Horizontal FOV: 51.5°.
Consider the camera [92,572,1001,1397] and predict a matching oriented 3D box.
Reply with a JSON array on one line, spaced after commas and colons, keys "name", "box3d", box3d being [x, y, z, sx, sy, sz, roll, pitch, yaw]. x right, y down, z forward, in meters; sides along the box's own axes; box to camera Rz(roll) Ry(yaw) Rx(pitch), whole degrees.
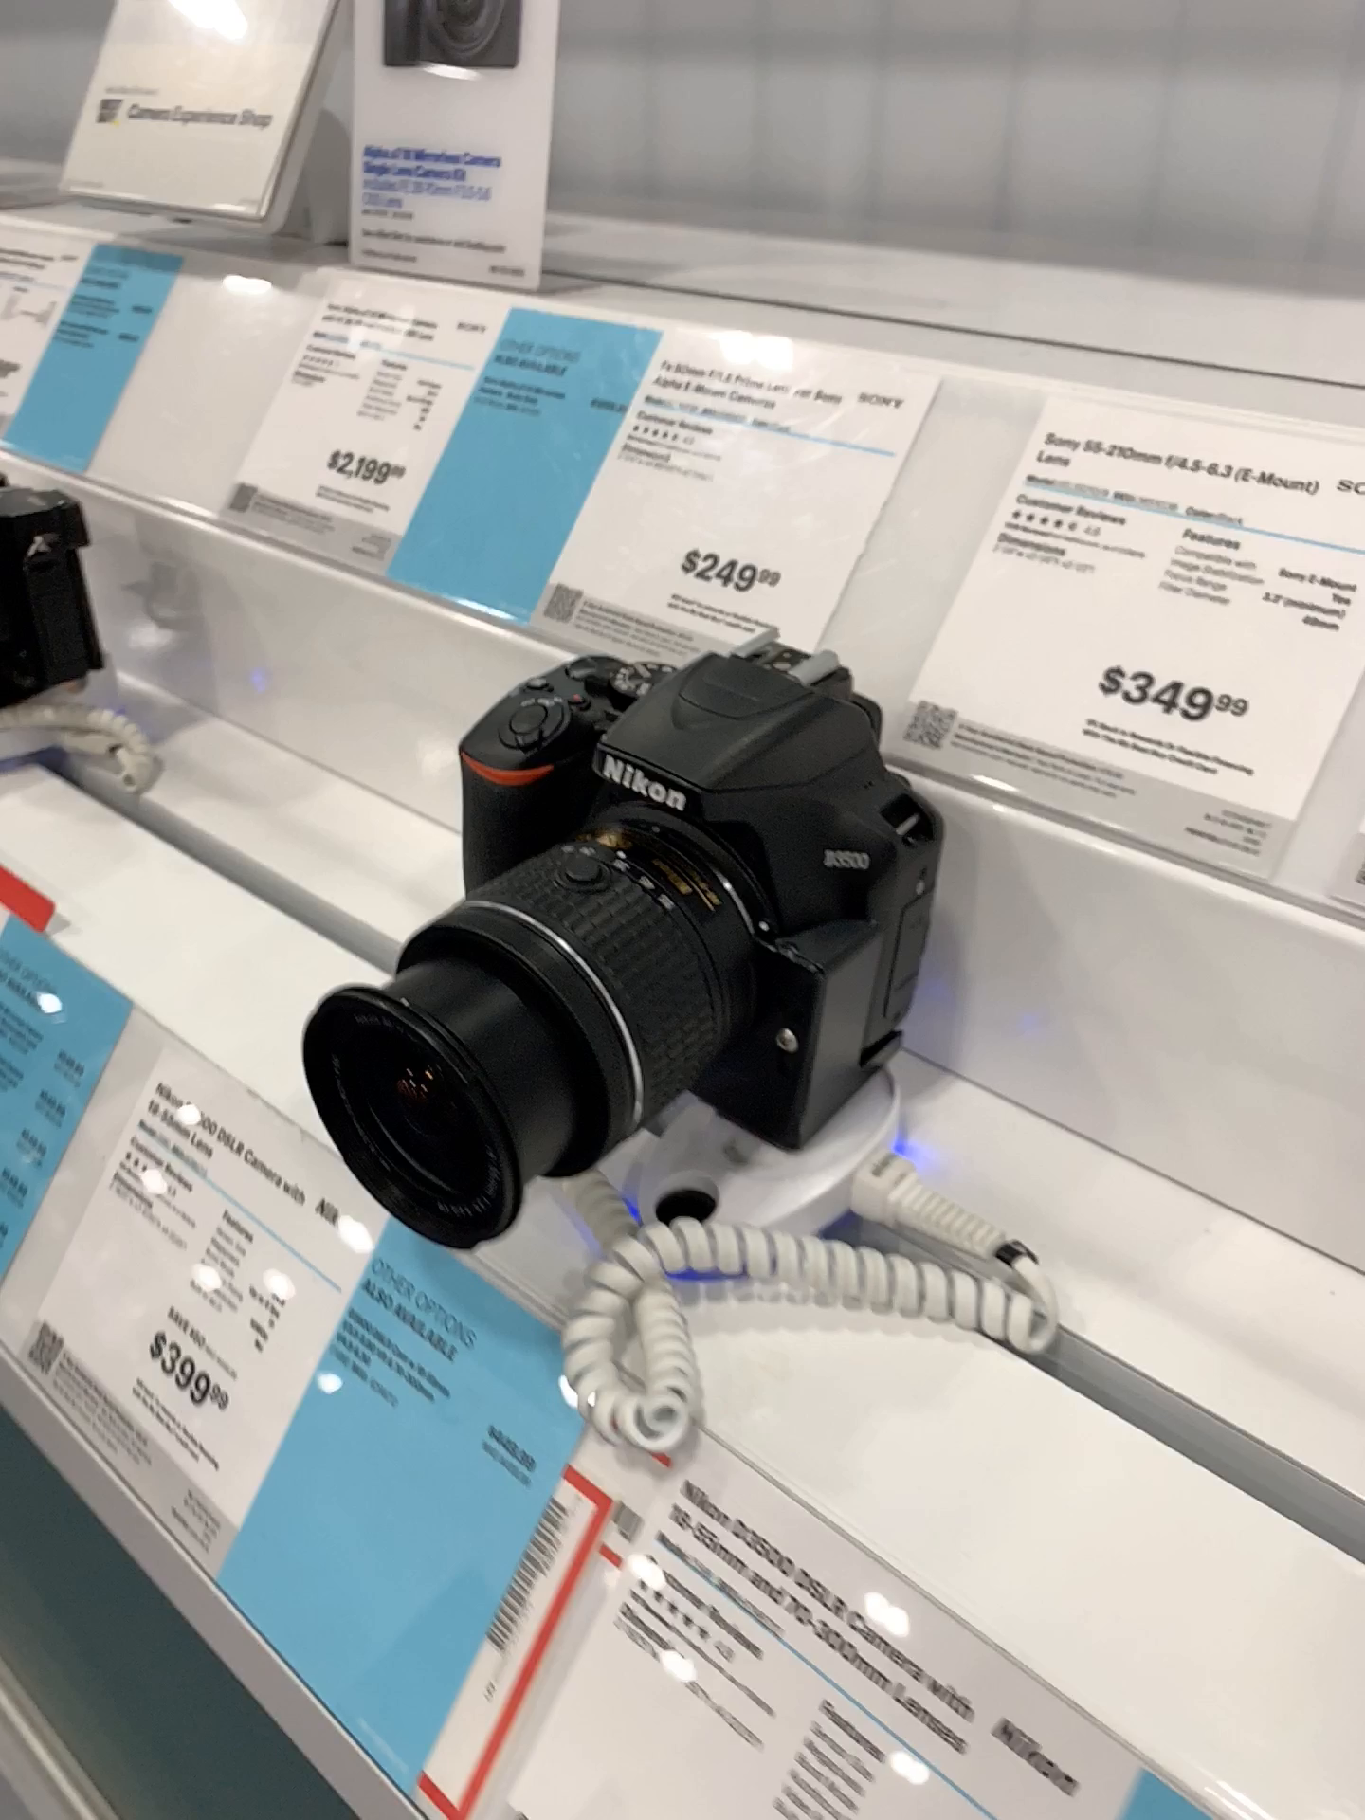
[{"name": "camera", "box3d": [-0.024, 0.000, 0.333, 0.130, 0.099, 0.150, 22, 37, 31]}]
